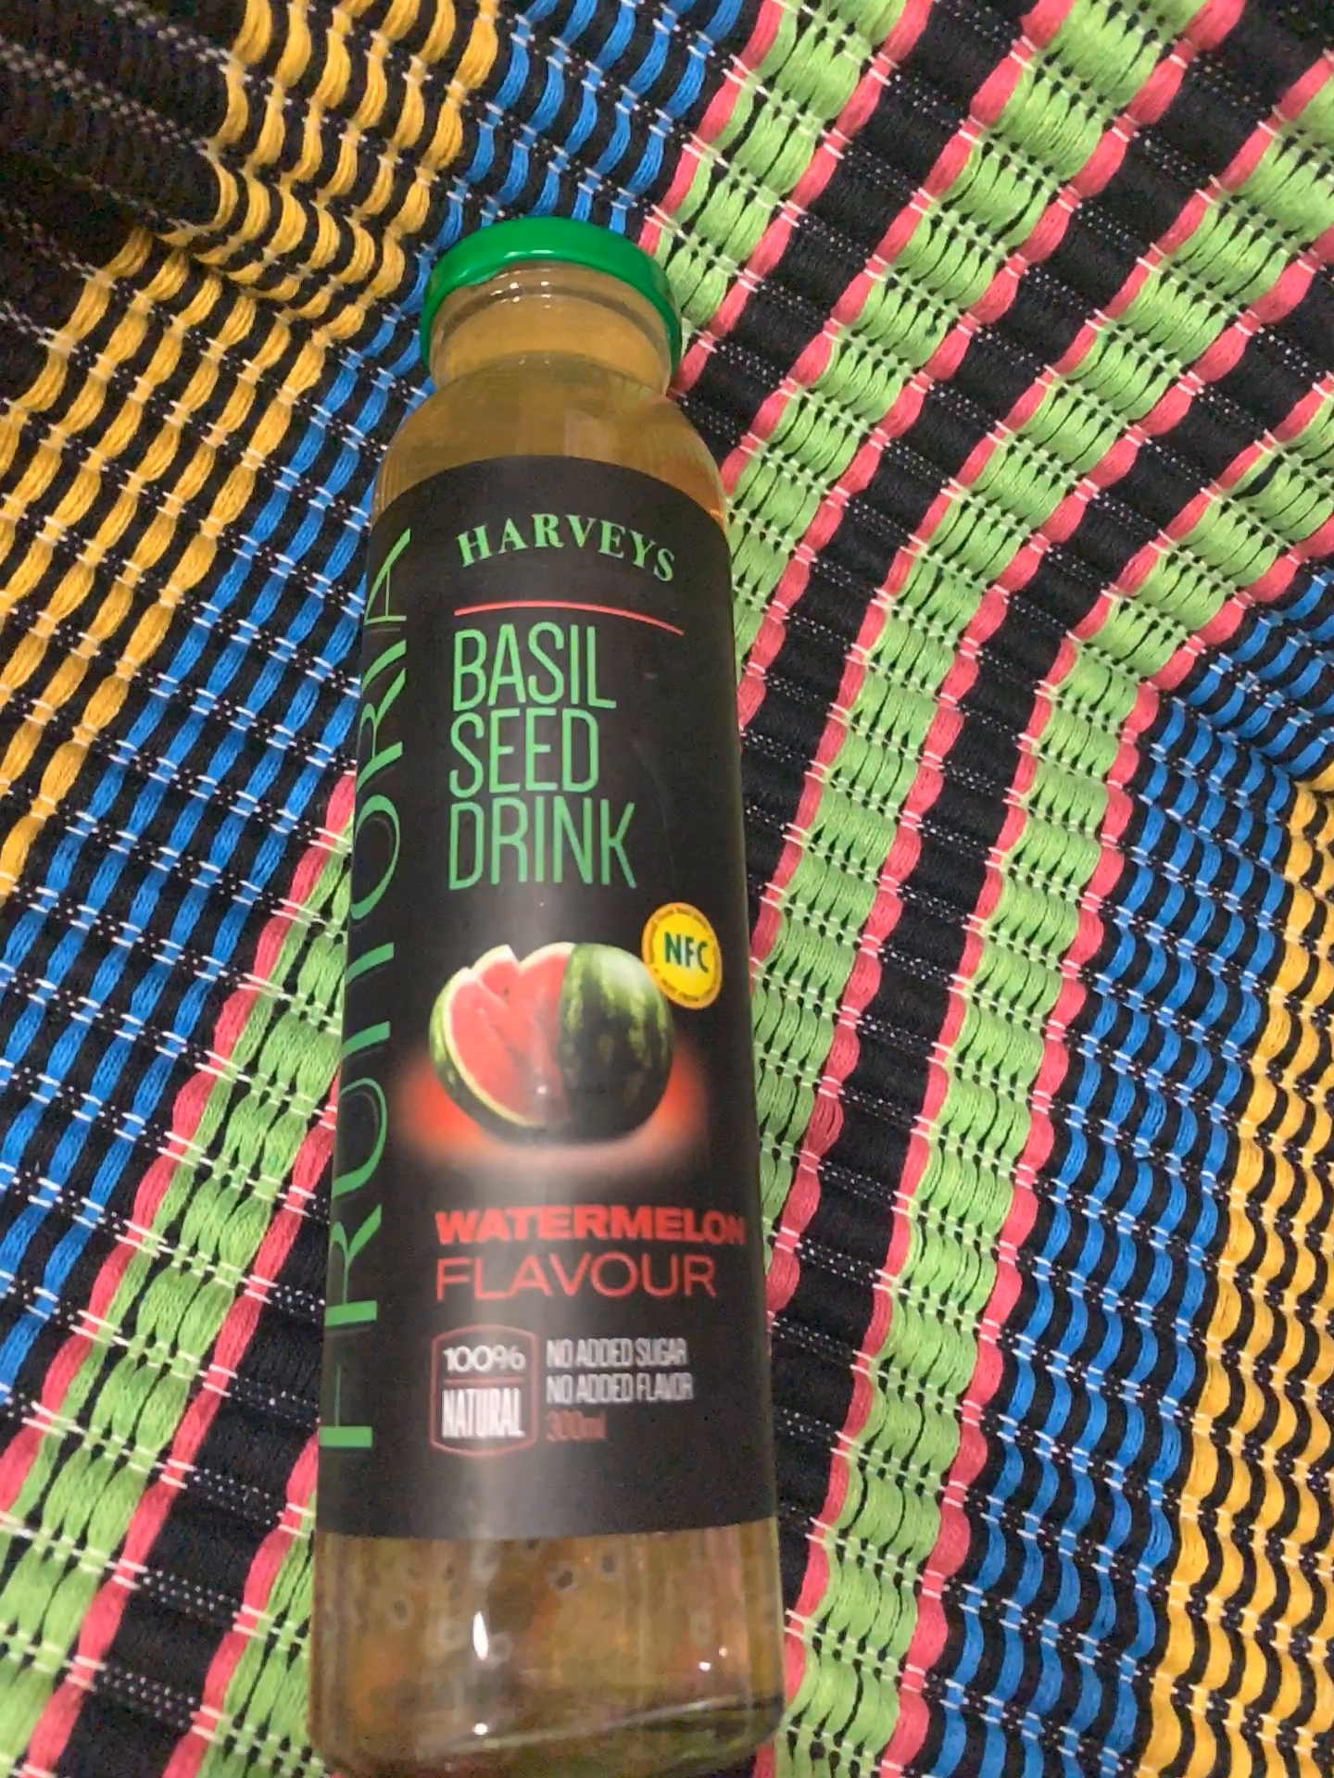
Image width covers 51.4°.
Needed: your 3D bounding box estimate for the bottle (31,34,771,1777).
[{"bbox_3d":[-0.023,-0.003,0.172,0.060,0.060,0.200,-1,72,0],"label":"bottle"}]
